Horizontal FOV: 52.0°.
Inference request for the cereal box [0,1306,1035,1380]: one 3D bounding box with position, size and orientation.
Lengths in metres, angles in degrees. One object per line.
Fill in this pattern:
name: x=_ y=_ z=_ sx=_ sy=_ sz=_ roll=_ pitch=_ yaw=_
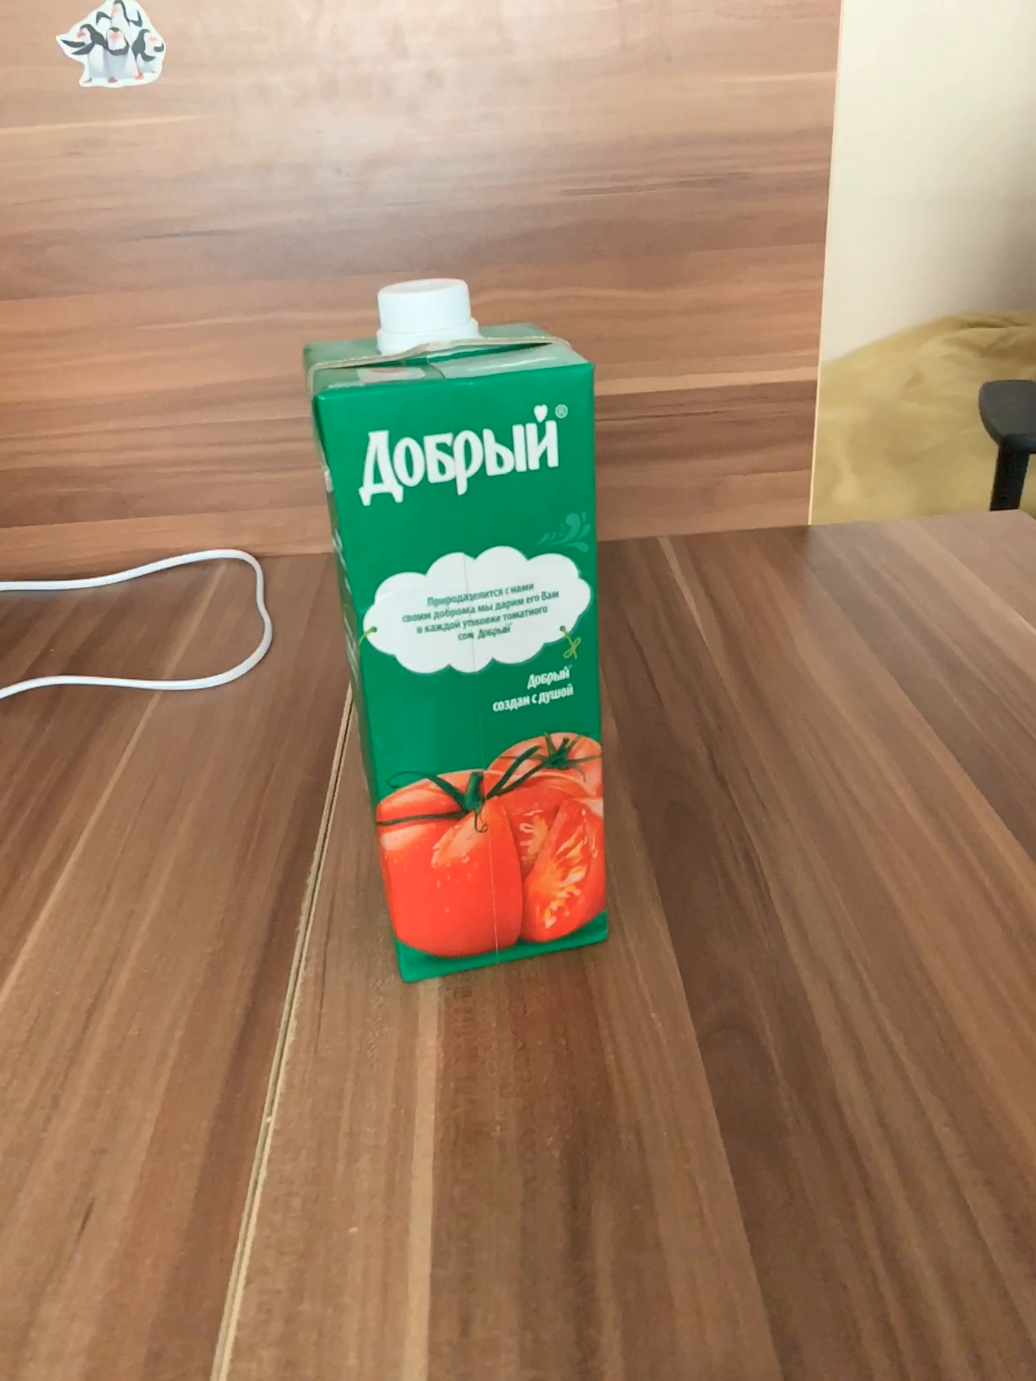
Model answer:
cereal box: x=0.026 y=0.753 z=0.138 sx=0.591 sy=0.836 sz=0.612 roll=-26 pitch=36 yaw=-34
